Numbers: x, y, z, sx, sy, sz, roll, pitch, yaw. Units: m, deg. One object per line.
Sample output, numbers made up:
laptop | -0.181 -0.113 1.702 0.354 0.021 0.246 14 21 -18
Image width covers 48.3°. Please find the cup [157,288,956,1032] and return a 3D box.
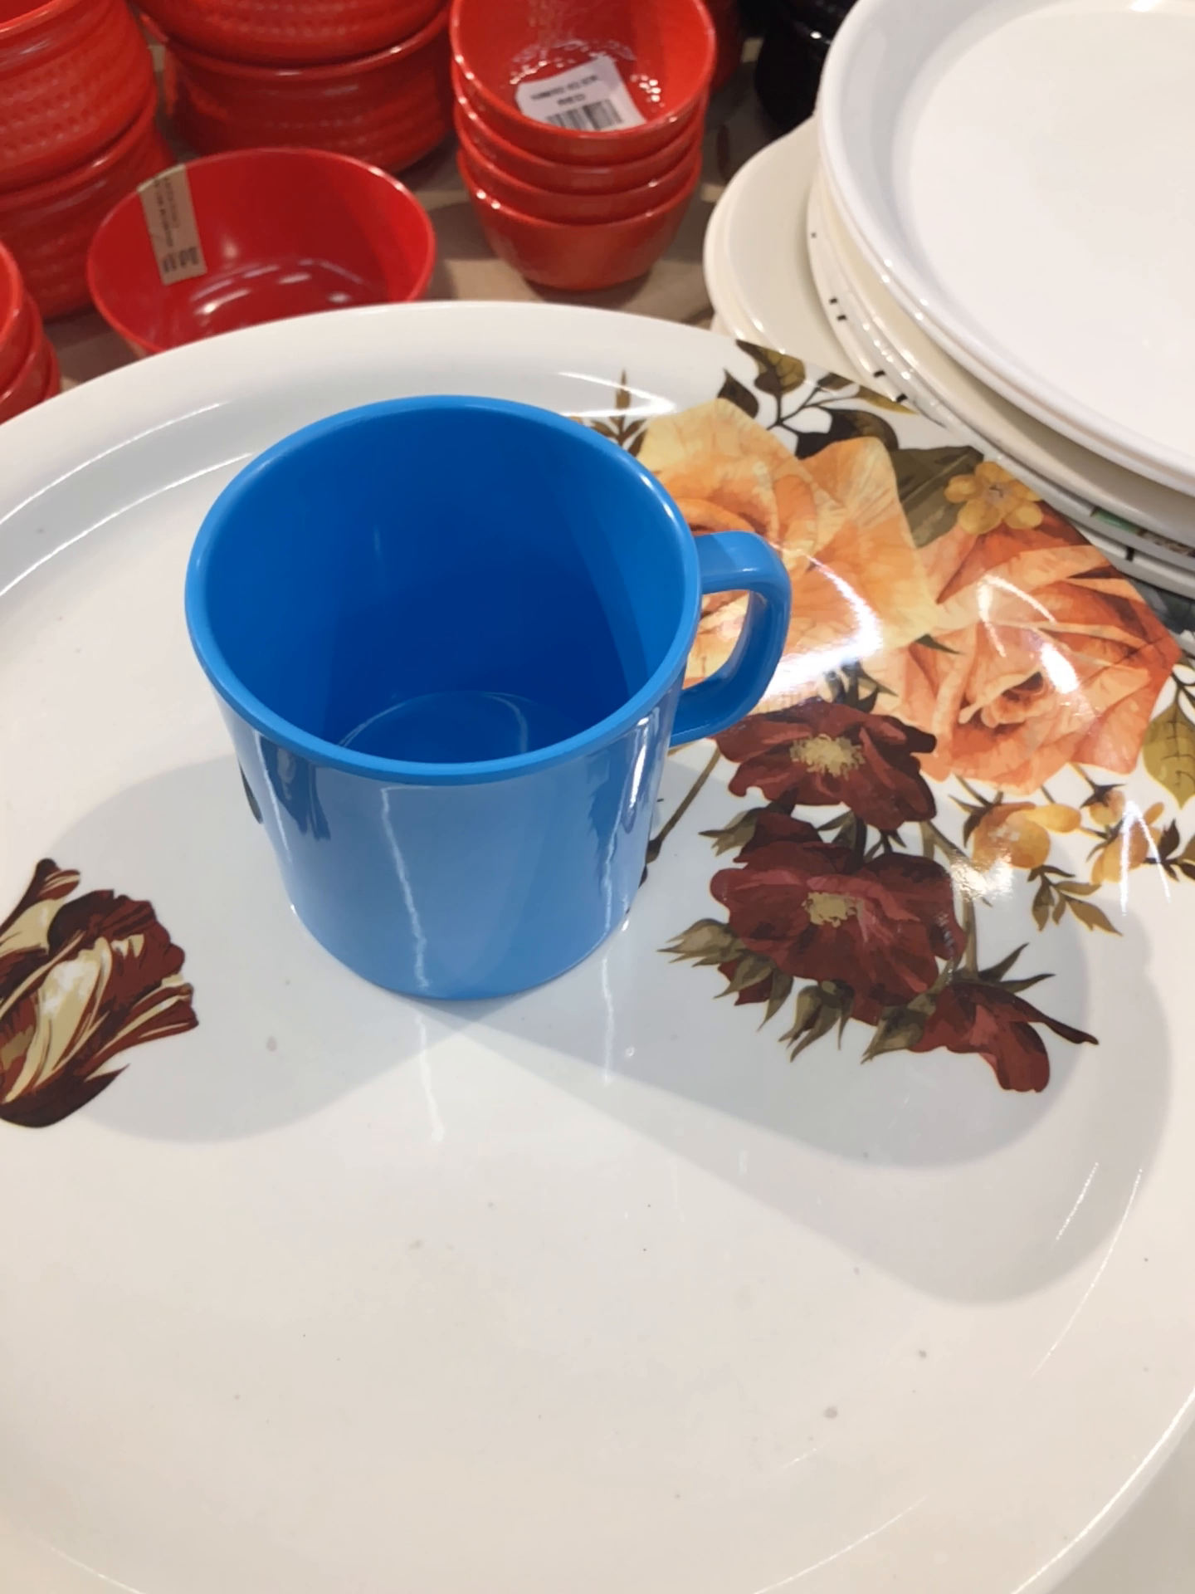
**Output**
cup | -0.010 -0.023 0.250 0.110 0.090 0.080 -13 60 -8
